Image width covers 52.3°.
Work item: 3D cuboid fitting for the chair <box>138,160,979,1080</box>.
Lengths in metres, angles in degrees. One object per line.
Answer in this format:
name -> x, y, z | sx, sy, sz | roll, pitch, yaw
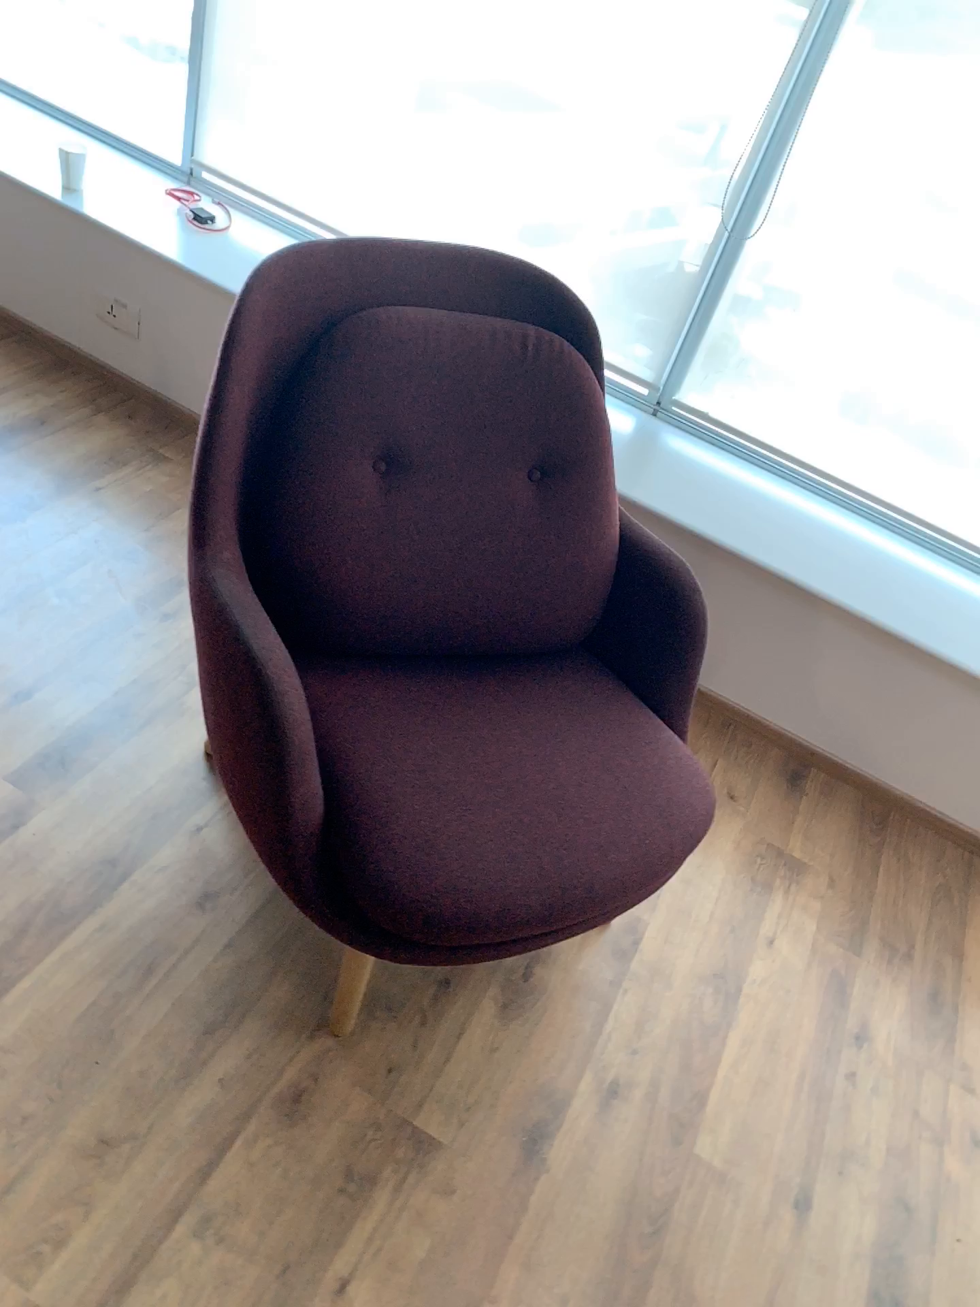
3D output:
chair -> -0.027, -0.038, 1.388 | 0.692, 0.932, 0.634 | -9, 48, -32
